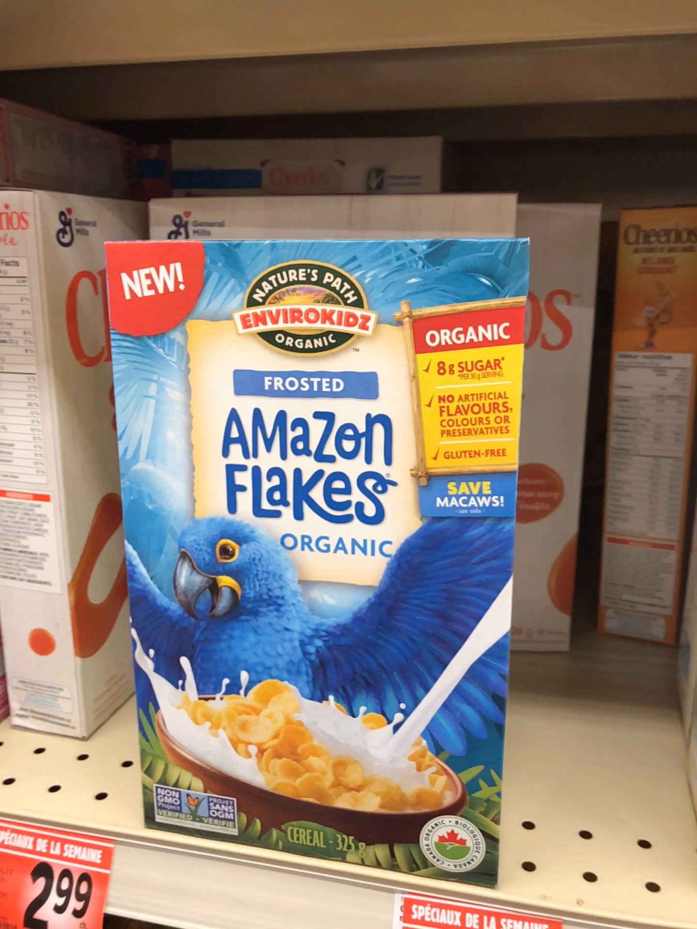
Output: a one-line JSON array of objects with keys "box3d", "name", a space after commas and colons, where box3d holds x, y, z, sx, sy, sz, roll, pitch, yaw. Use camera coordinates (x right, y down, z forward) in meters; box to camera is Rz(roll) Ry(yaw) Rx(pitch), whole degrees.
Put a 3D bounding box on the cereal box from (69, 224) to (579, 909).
[{"box3d": [-0.008, 0.037, 0.304, 0.170, 0.249, 0.050, 3, 15, 13], "name": "cereal box"}]
